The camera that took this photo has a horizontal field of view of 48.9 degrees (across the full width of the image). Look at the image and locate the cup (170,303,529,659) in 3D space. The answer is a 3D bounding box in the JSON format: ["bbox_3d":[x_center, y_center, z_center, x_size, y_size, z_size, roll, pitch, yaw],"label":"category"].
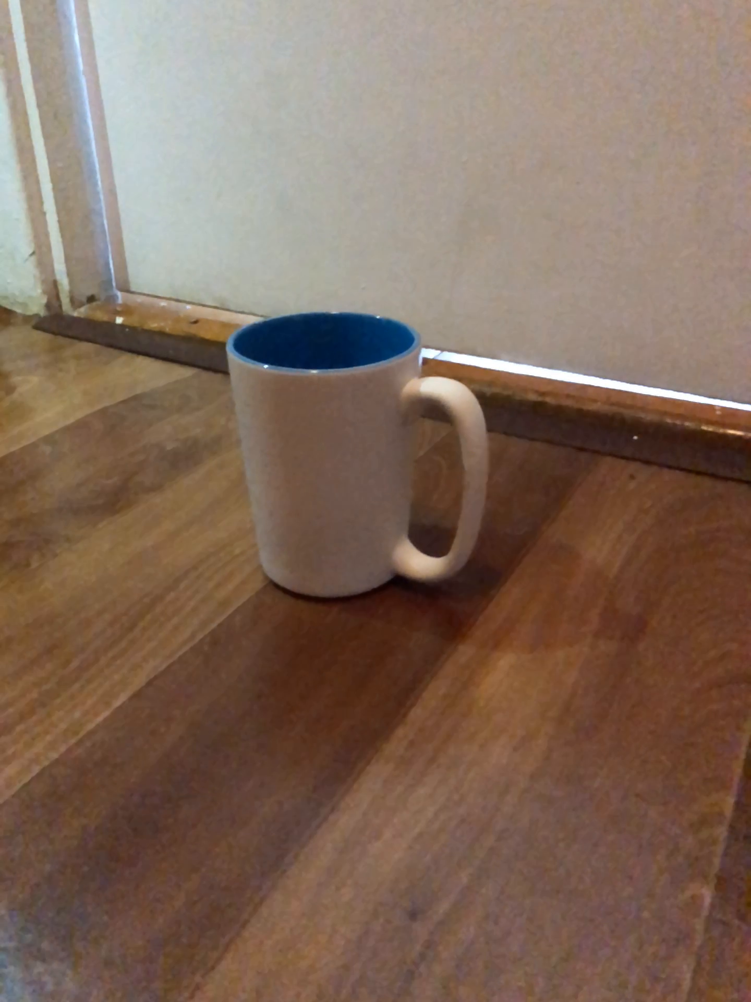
[{"bbox_3d":[-0.010,-0.017,0.387,0.129,0.112,0.089,17,33,29],"label":"cup"}]
